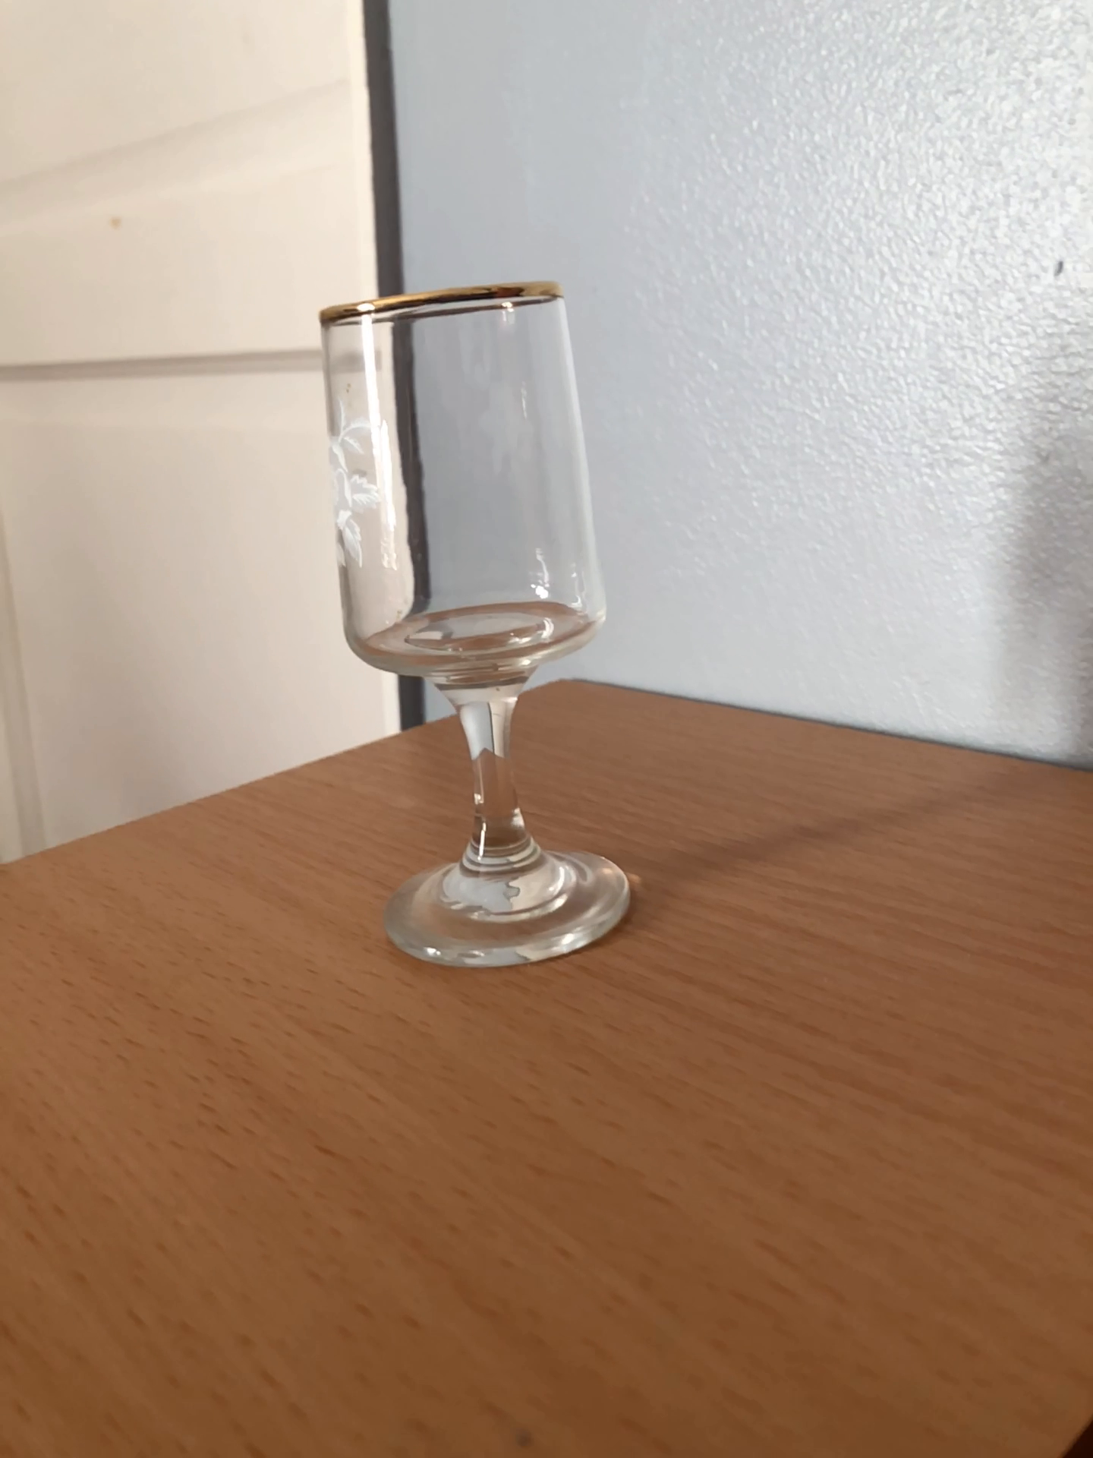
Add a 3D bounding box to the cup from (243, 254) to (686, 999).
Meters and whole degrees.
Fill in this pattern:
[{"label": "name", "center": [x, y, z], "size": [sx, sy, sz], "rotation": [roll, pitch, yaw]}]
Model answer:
[{"label": "cup", "center": [-0.015, -0.020, 0.210], "size": [0.056, 0.108, 0.052], "rotation": [-5, 16, 2]}]
